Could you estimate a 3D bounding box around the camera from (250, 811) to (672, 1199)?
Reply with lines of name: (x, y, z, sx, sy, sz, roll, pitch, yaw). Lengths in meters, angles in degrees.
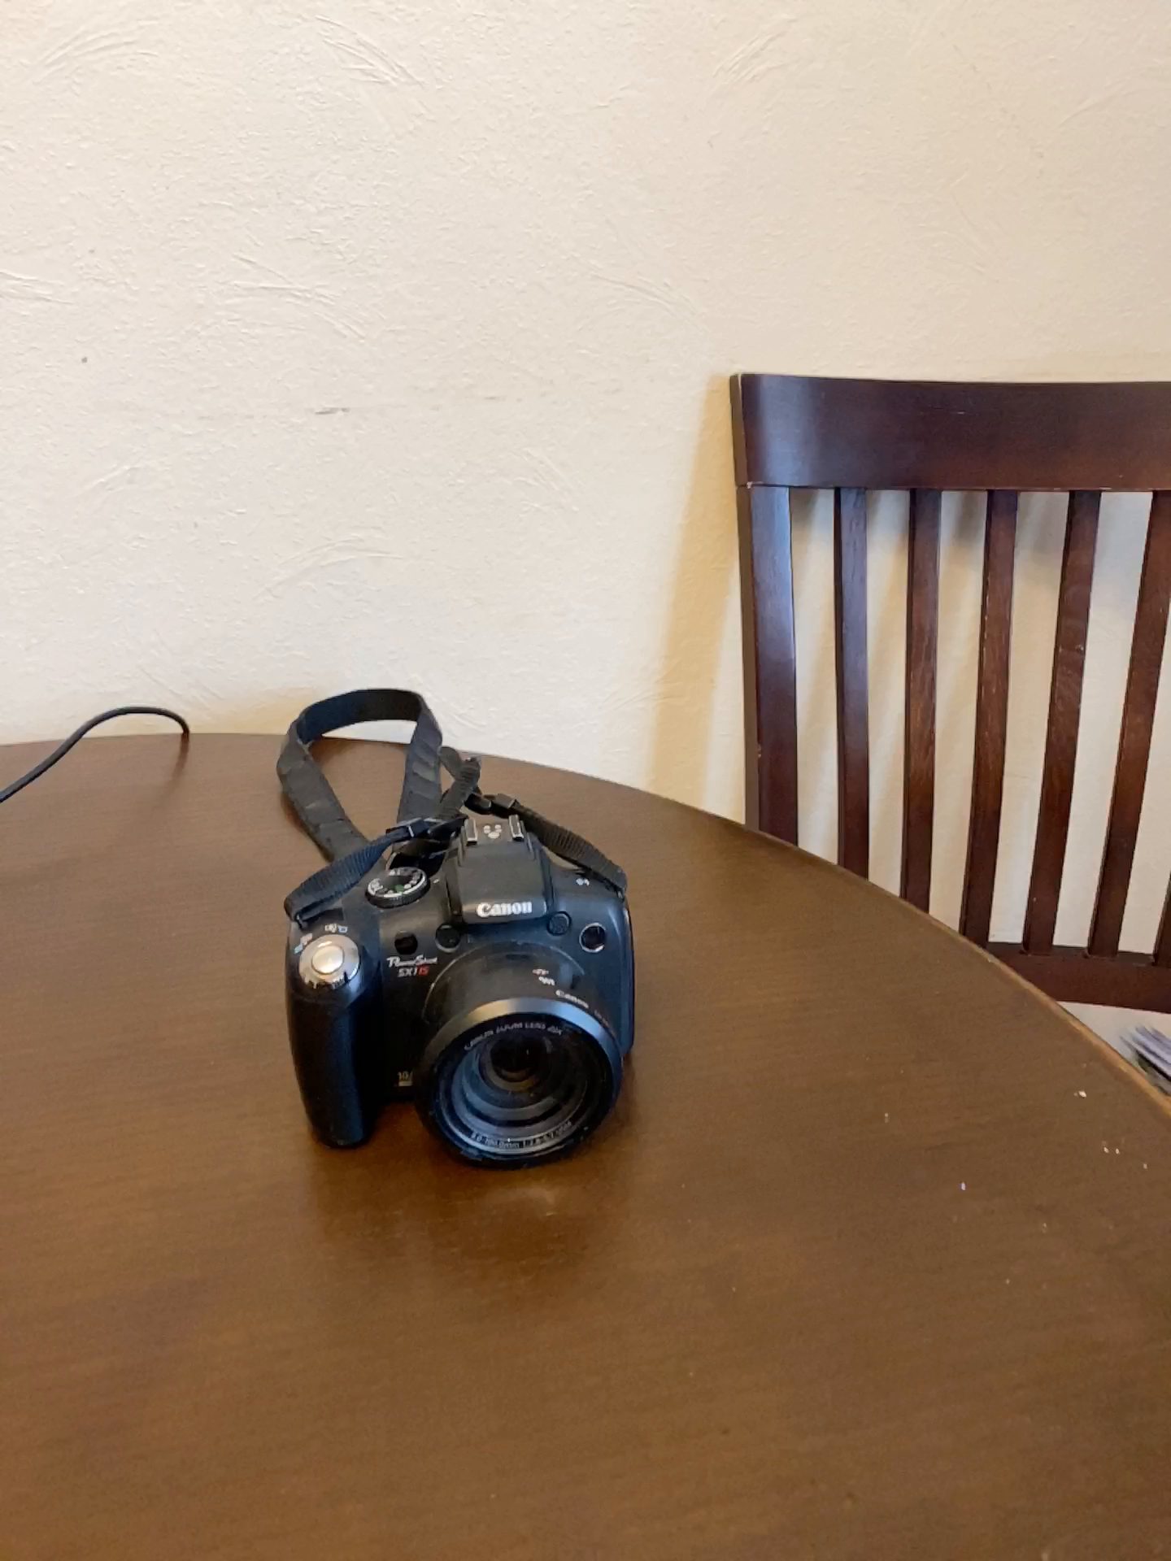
camera: (-0.041, 0.072, 0.404, 0.123, 0.088, 0.082, -3, 24, -8)
